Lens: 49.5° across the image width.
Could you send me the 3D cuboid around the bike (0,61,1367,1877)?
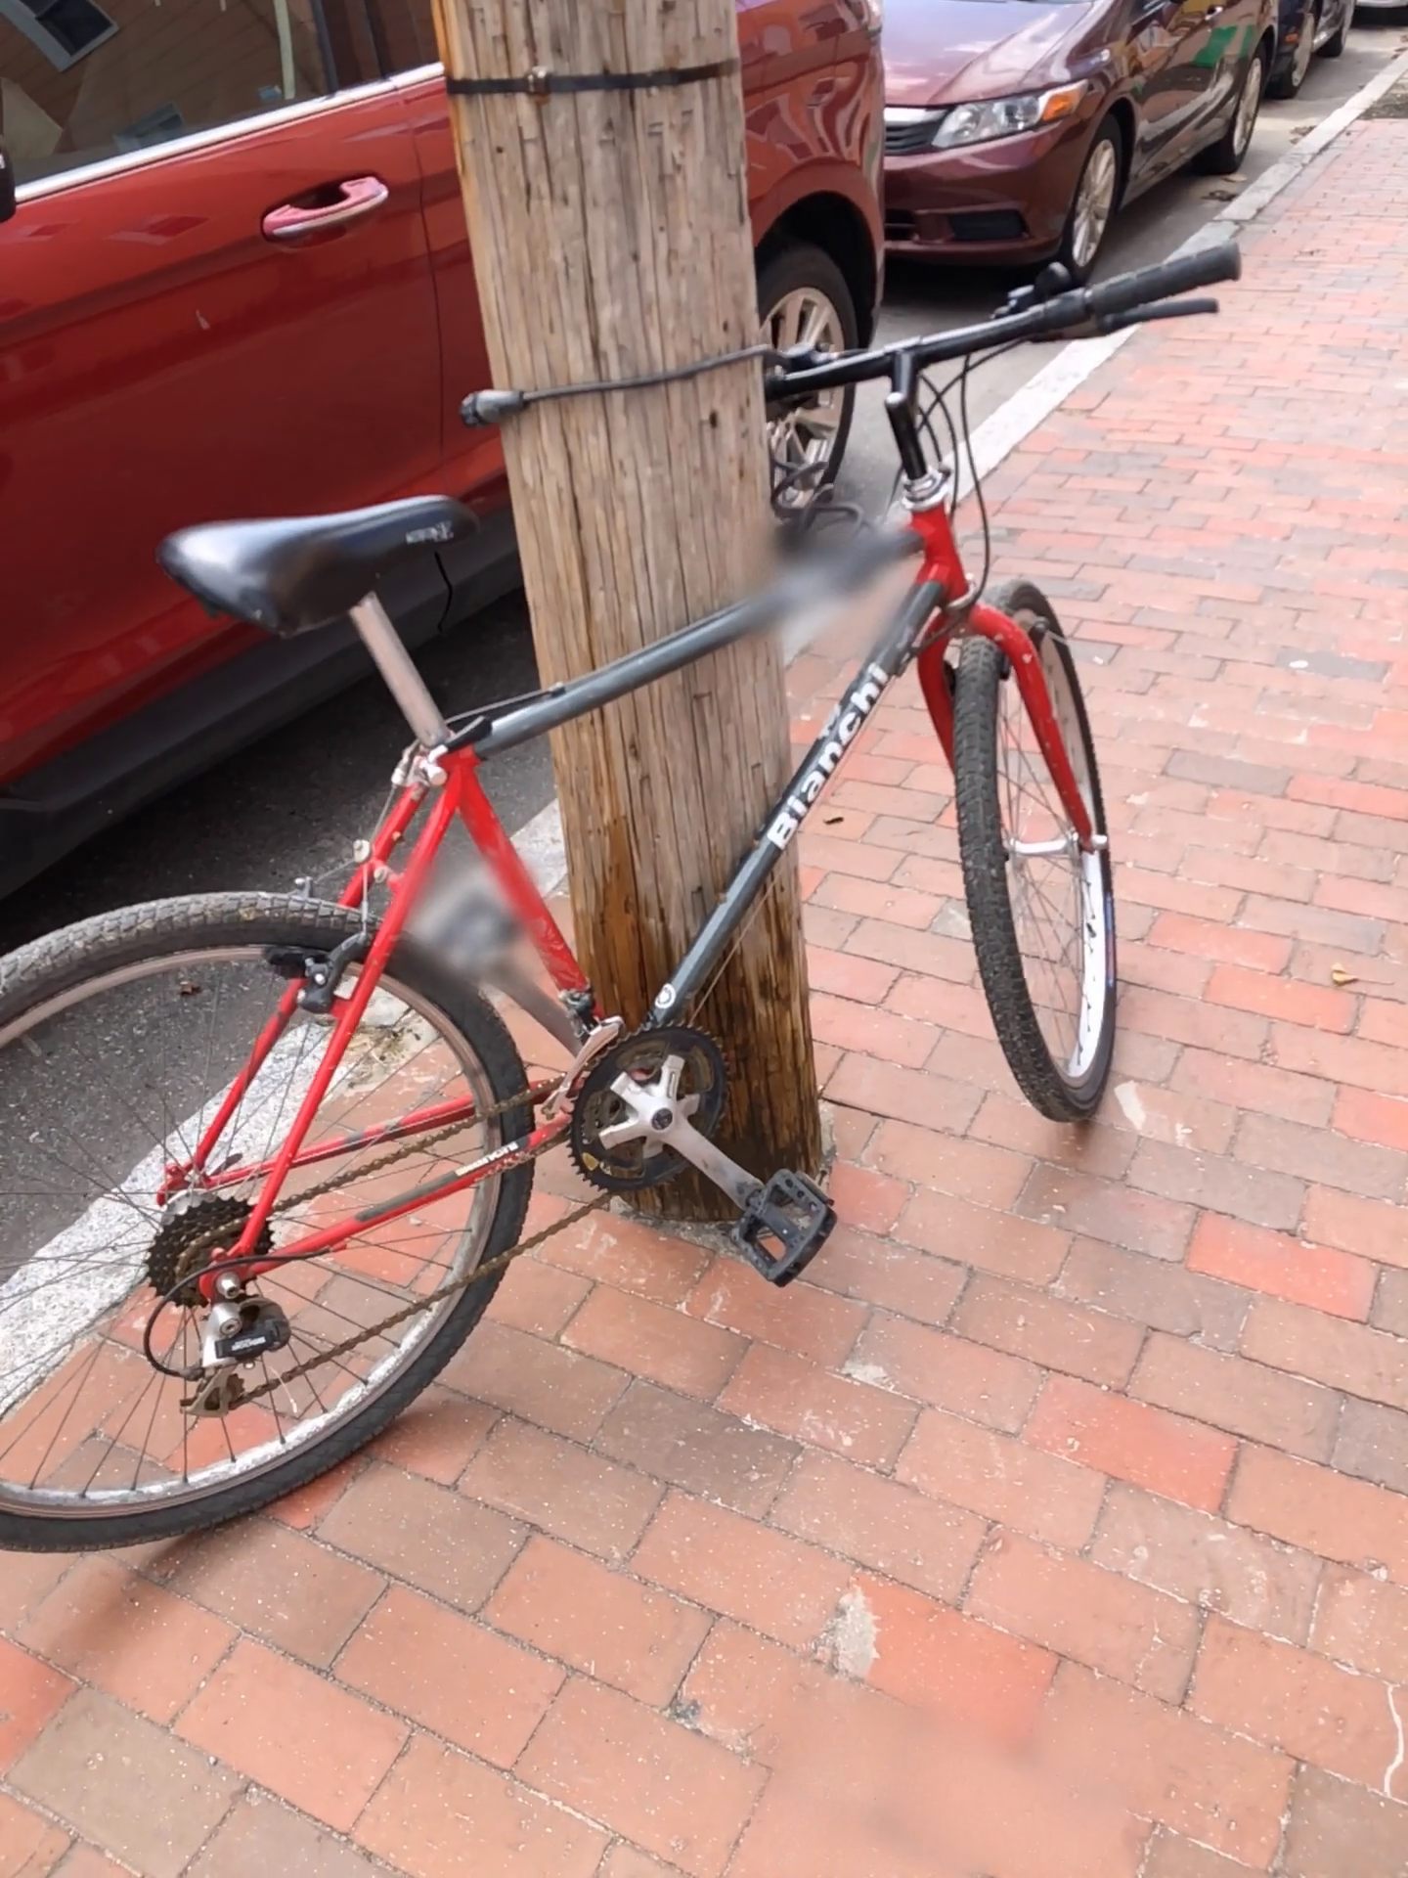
[{"bbox_3d":[-0.117,-0.156,1.470,1.532,0.983,0.582,-29,42,-31],"label":"bike"}]
